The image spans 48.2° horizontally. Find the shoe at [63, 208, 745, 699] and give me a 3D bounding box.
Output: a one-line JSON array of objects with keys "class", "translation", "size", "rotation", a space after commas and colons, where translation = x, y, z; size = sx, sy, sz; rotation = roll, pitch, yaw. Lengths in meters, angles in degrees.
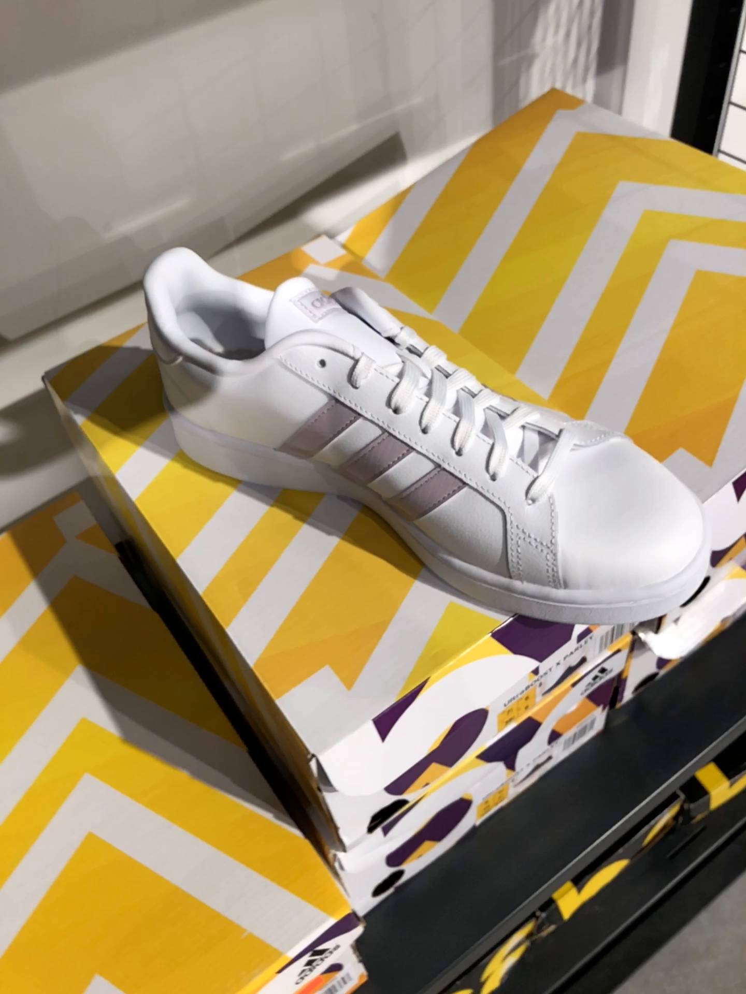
[{"class": "shoe", "translation": [0.016, -0.036, 0.382], "size": [0.290, 0.090, 0.110], "rotation": [21, 56, 24]}]
